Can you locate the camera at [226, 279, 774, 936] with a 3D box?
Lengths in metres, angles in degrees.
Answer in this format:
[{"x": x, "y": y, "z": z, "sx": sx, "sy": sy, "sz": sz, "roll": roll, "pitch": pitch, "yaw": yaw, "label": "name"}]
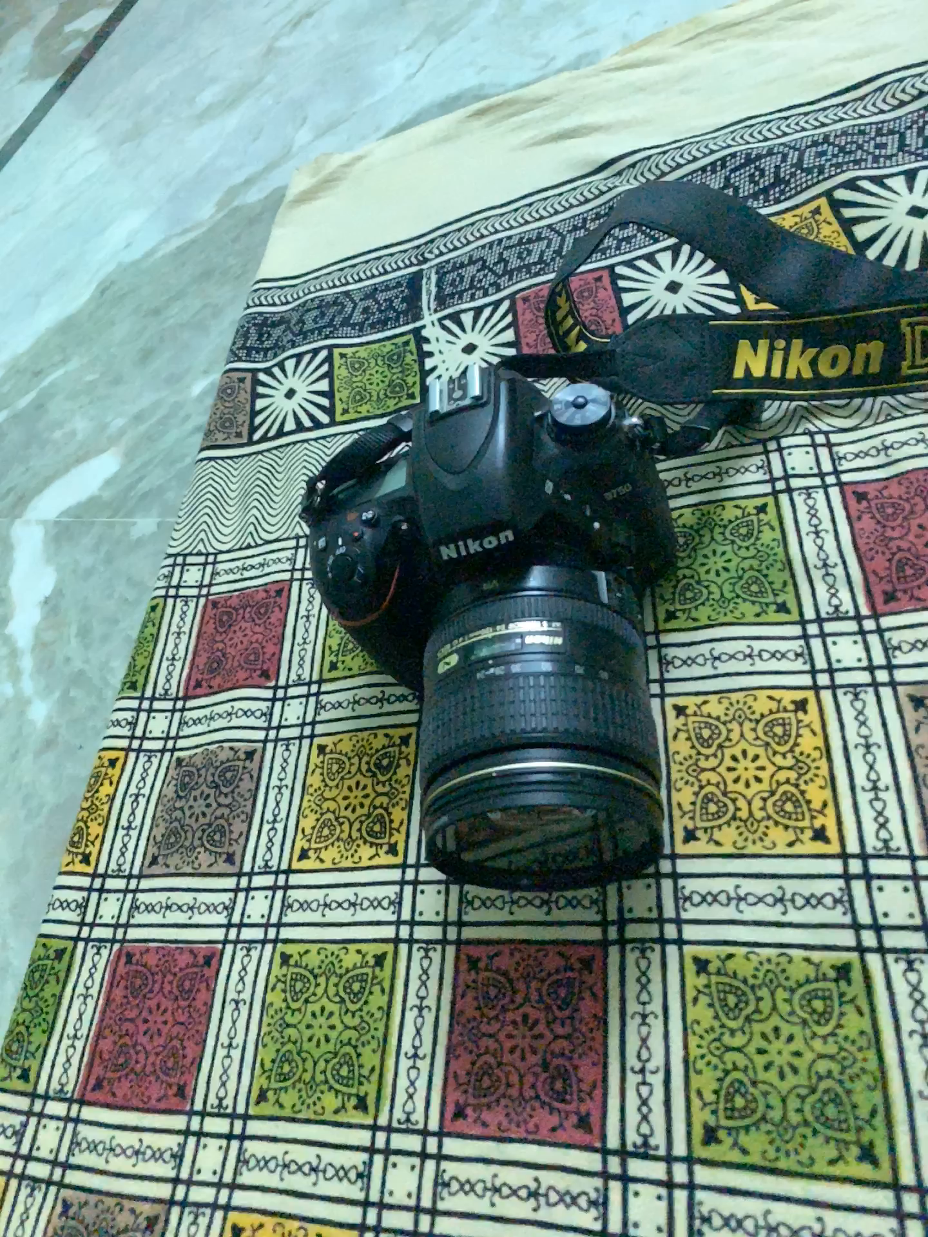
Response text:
[{"x": 0.016, "y": -0.002, "z": 0.347, "sx": 0.140, "sy": 0.100, "sz": 0.190, "roll": -14, "pitch": 51, "yaw": 20, "label": "camera"}]
